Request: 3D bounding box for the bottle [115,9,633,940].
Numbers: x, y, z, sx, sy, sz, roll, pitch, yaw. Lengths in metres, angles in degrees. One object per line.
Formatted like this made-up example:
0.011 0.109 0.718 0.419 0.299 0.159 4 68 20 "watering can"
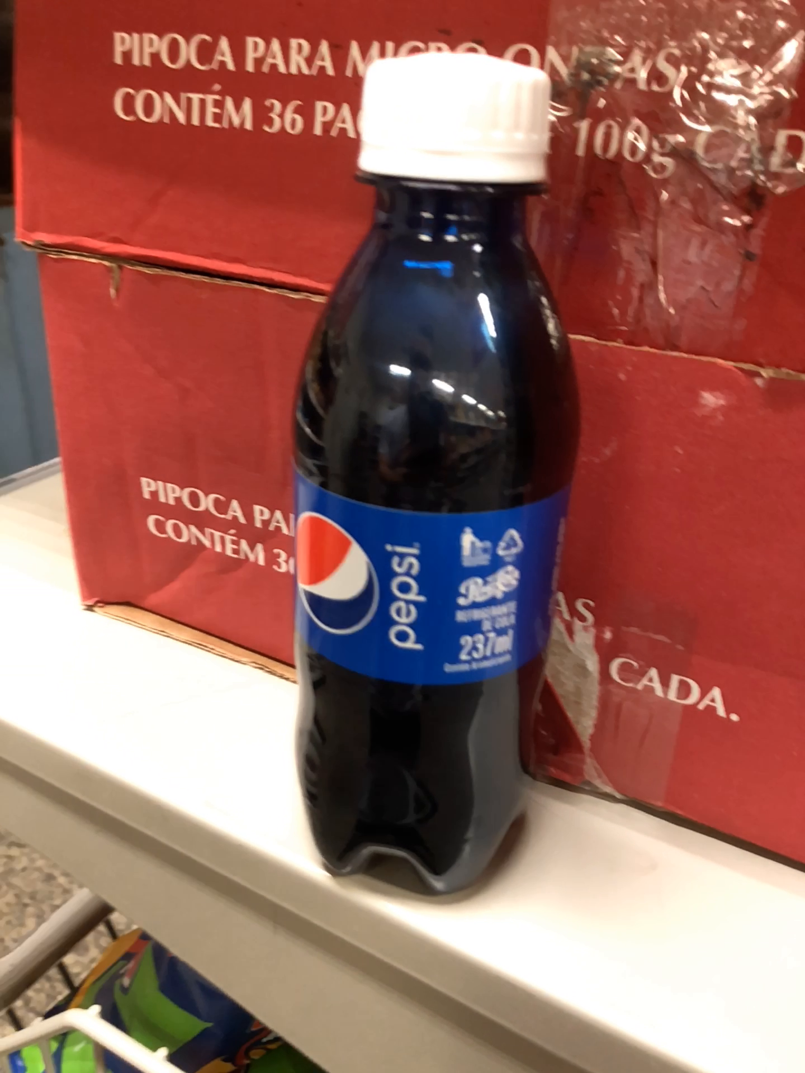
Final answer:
-0.001 -0.011 0.172 0.060 0.149 0.060 0 24 0 "bottle"
